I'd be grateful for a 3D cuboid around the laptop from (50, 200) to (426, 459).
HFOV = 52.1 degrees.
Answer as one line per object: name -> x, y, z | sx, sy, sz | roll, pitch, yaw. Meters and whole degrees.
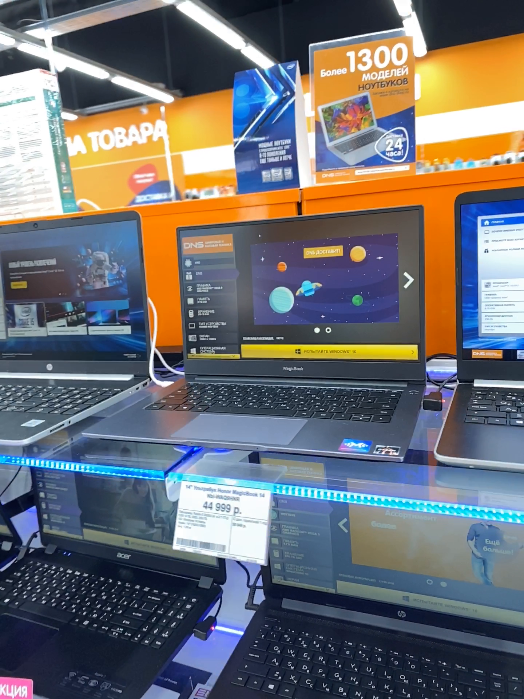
laptop -> -0.003, -0.037, 0.582 | 0.324, 0.203, 0.237 | 0, 12, 22
